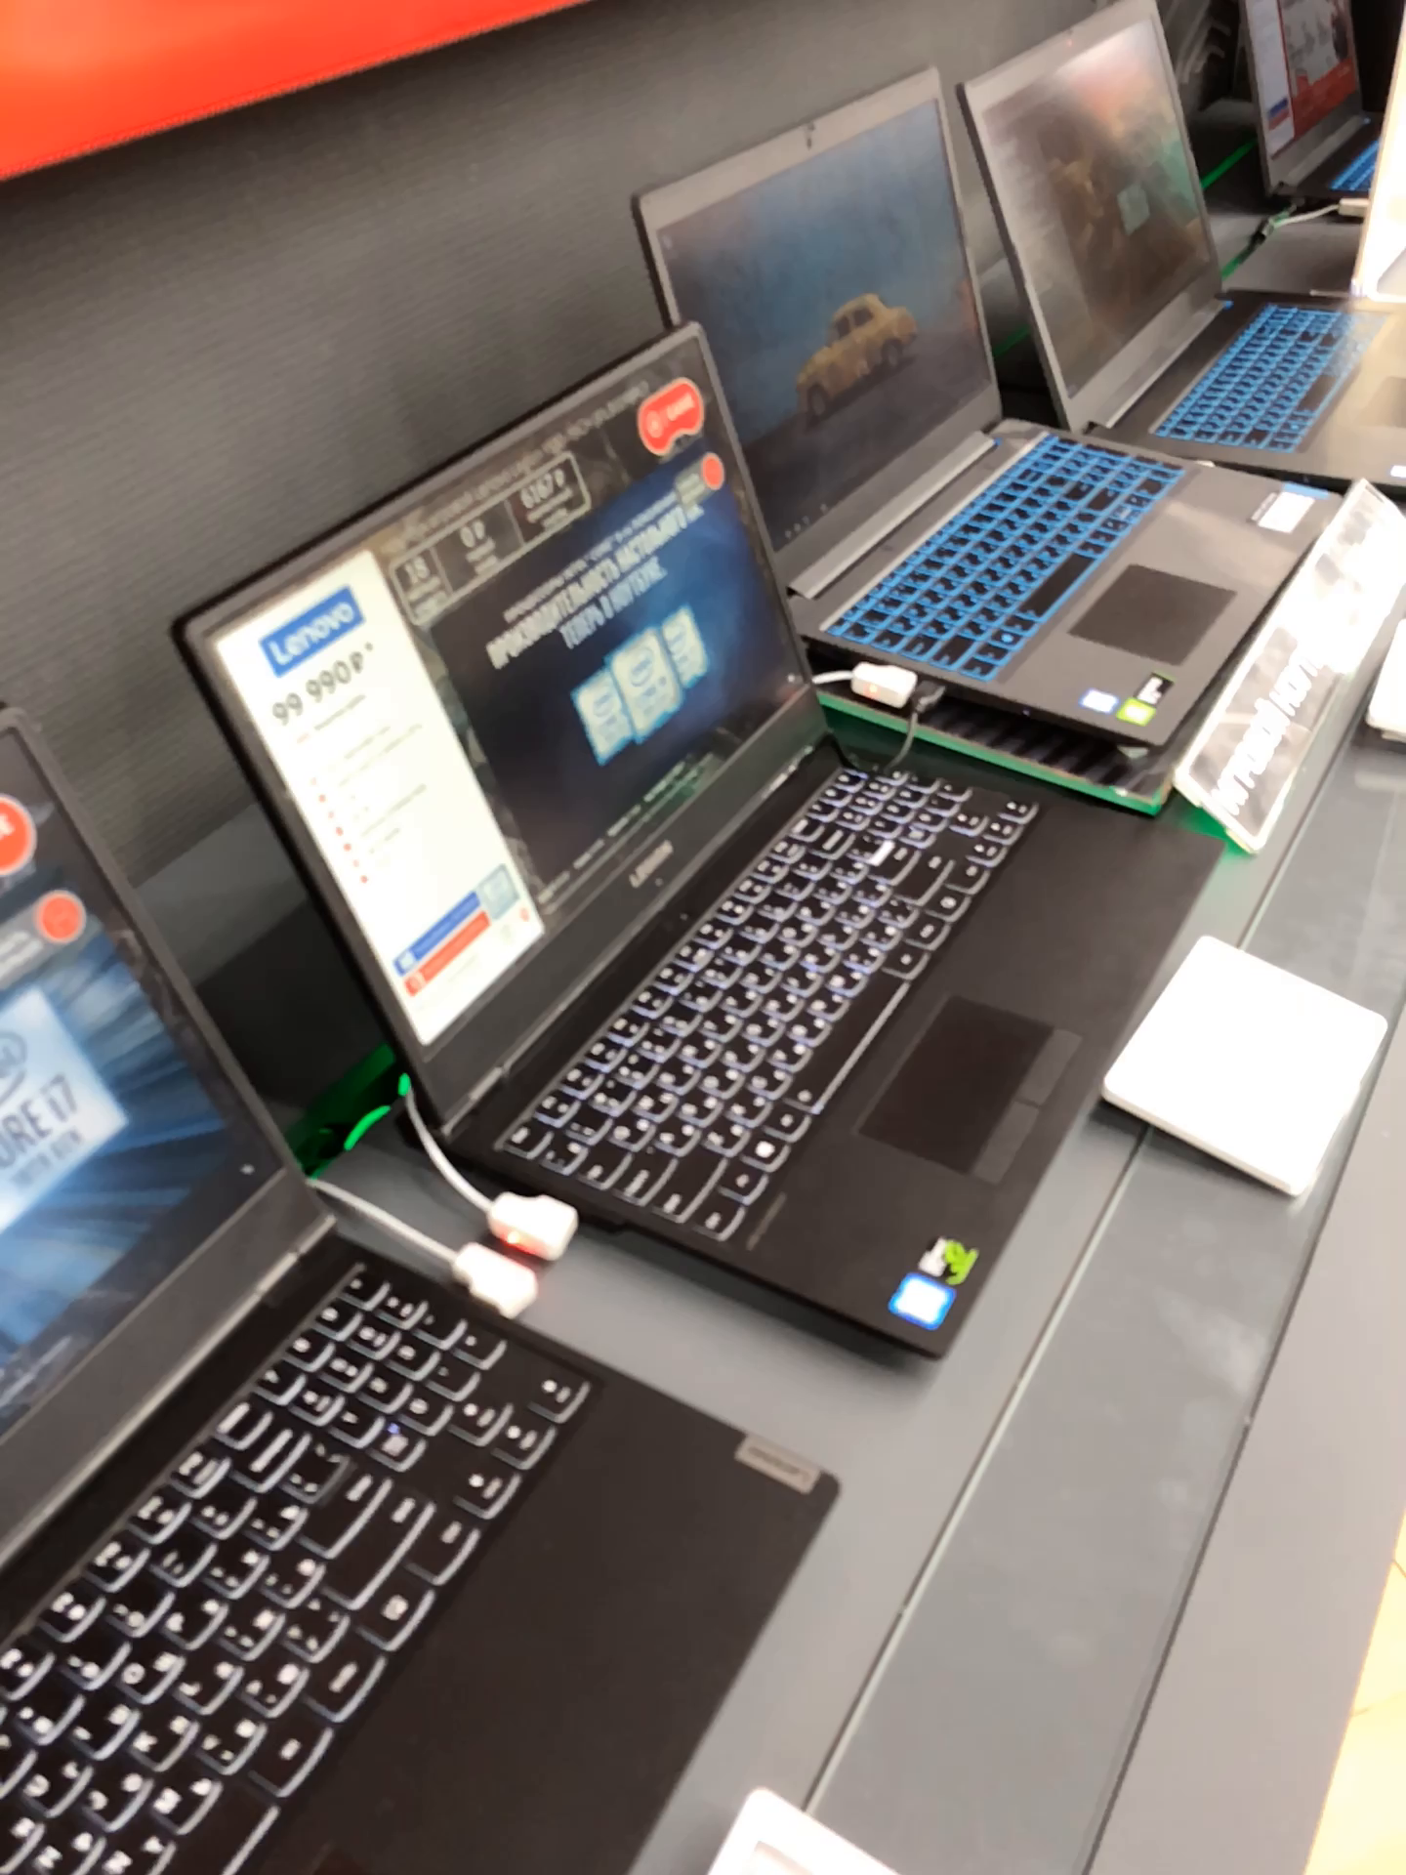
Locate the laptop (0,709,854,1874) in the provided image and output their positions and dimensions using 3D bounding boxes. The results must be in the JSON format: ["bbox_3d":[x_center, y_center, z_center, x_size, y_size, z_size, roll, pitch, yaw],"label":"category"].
[{"bbox_3d":[-0.184,0.151,0.389,0.315,0.223,0.354,16,42,25],"label":"laptop"}]

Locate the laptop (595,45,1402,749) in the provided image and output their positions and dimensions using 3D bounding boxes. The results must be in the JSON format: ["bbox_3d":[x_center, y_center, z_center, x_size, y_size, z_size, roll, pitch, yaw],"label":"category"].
[{"bbox_3d":[0.187,-0.352,0.916,0.334,0.225,0.356,22,46,25],"label":"laptop"}]

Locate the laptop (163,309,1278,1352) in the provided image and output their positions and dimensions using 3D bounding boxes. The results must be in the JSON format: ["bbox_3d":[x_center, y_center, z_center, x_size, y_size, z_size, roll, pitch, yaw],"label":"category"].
[{"bbox_3d":[0.035,-0.084,0.659,0.301,0.225,0.354,18,44,26],"label":"laptop"}]
